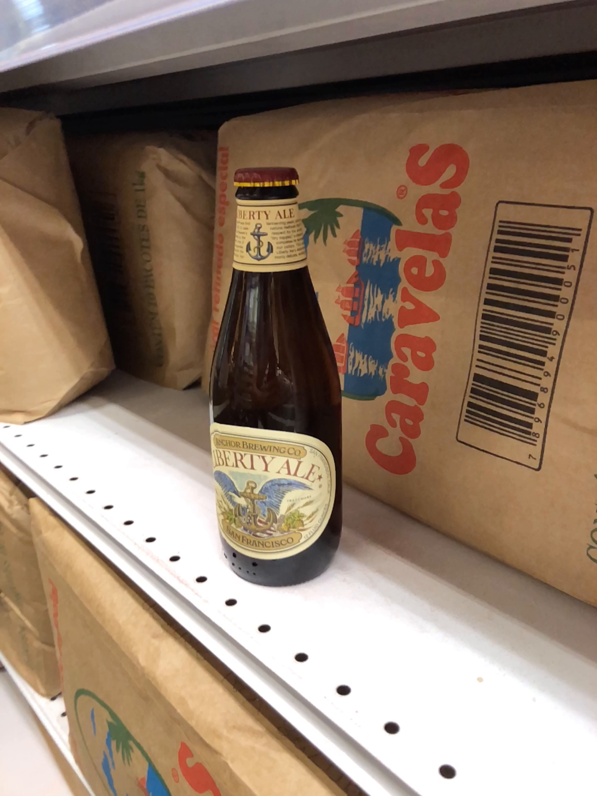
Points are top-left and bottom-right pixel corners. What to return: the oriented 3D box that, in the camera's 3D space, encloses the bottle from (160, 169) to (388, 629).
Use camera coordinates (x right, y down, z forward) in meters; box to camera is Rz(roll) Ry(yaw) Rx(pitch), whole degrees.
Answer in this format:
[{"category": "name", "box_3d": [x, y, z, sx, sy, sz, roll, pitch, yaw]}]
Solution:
[{"category": "bottle", "box_3d": [-0.006, -0.004, 0.302, 0.070, 0.189, 0.070, -1, 20, 0]}]
